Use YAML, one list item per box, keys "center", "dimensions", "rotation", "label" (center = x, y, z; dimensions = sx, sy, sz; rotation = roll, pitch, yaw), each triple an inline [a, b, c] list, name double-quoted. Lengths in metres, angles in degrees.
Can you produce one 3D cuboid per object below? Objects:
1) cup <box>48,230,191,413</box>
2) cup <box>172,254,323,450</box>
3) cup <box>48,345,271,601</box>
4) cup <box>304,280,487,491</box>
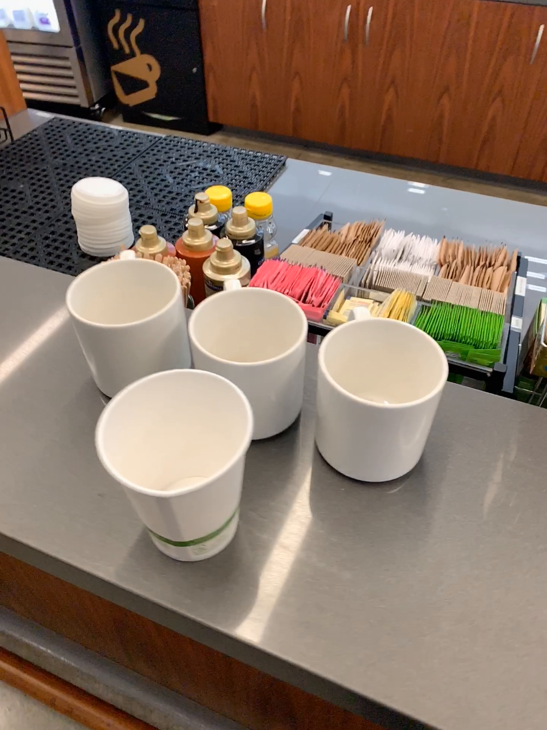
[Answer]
- center: [-0.120, -0.039, 0.470]
  dimensions: [0.090, 0.080, 0.131]
  rotation: [-5, 46, -4]
  label: "cup"
- center: [-0.023, -0.014, 0.445]
  dimensions: [0.100, 0.080, 0.131]
  rotation: [-4, 45, -4]
  label: "cup"
- center: [-0.062, 0.068, 0.357]
  dimensions: [0.090, 0.109, 0.090]
  rotation: [0, 45, 0]
  label: "cup"
- center: [0.081, 0.012, 0.430]
  dimensions: [0.100, 0.089, 0.131]
  rotation: [-3, 45, -2]
  label: "cup"
